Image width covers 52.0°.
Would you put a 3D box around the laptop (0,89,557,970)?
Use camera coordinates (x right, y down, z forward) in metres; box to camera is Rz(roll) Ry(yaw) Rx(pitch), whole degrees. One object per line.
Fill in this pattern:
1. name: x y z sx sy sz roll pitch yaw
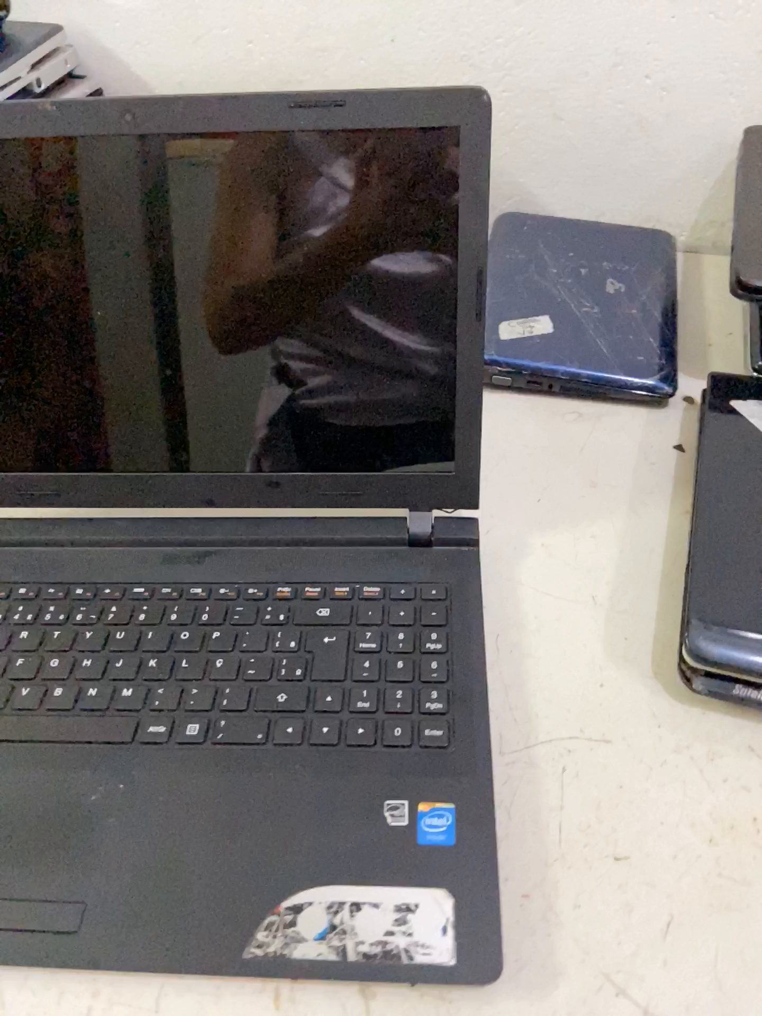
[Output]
1. laptop: -0.136 -0.010 0.372 0.375 0.230 0.339 0 45 4
